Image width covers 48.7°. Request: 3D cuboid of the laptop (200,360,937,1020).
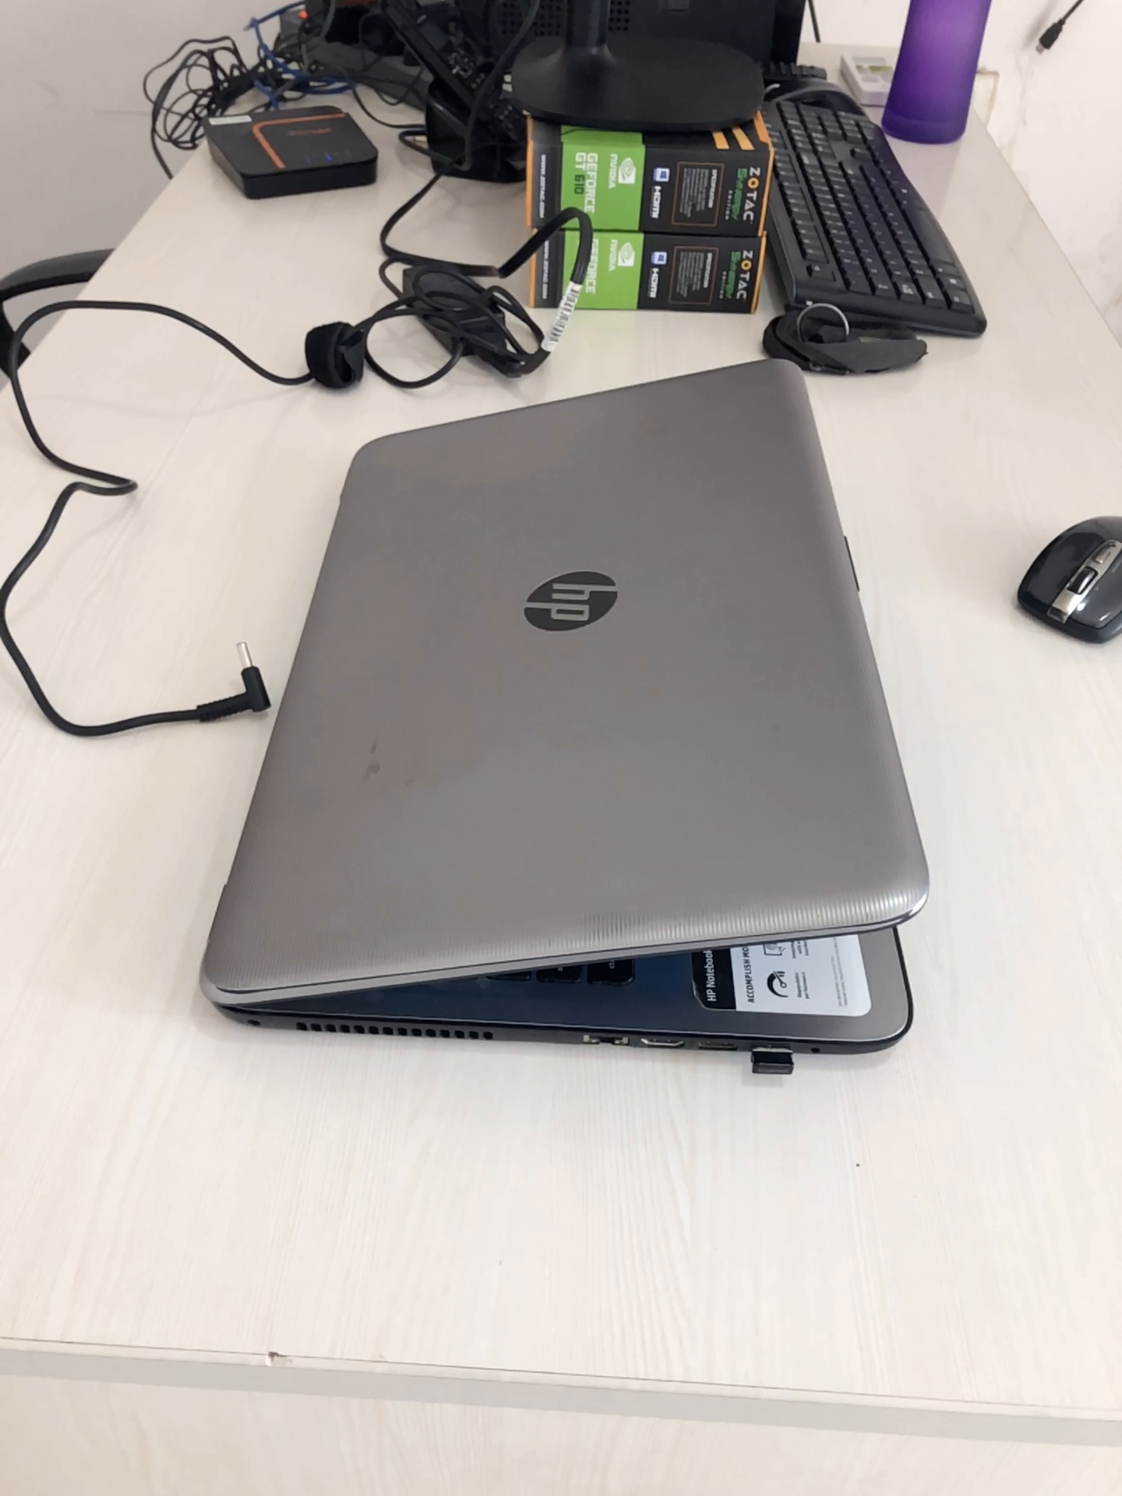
[{"bbox_3d":[0.008,-0.054,0.531,0.226,0.062,0.358,2,43,0],"label":"laptop"}]
